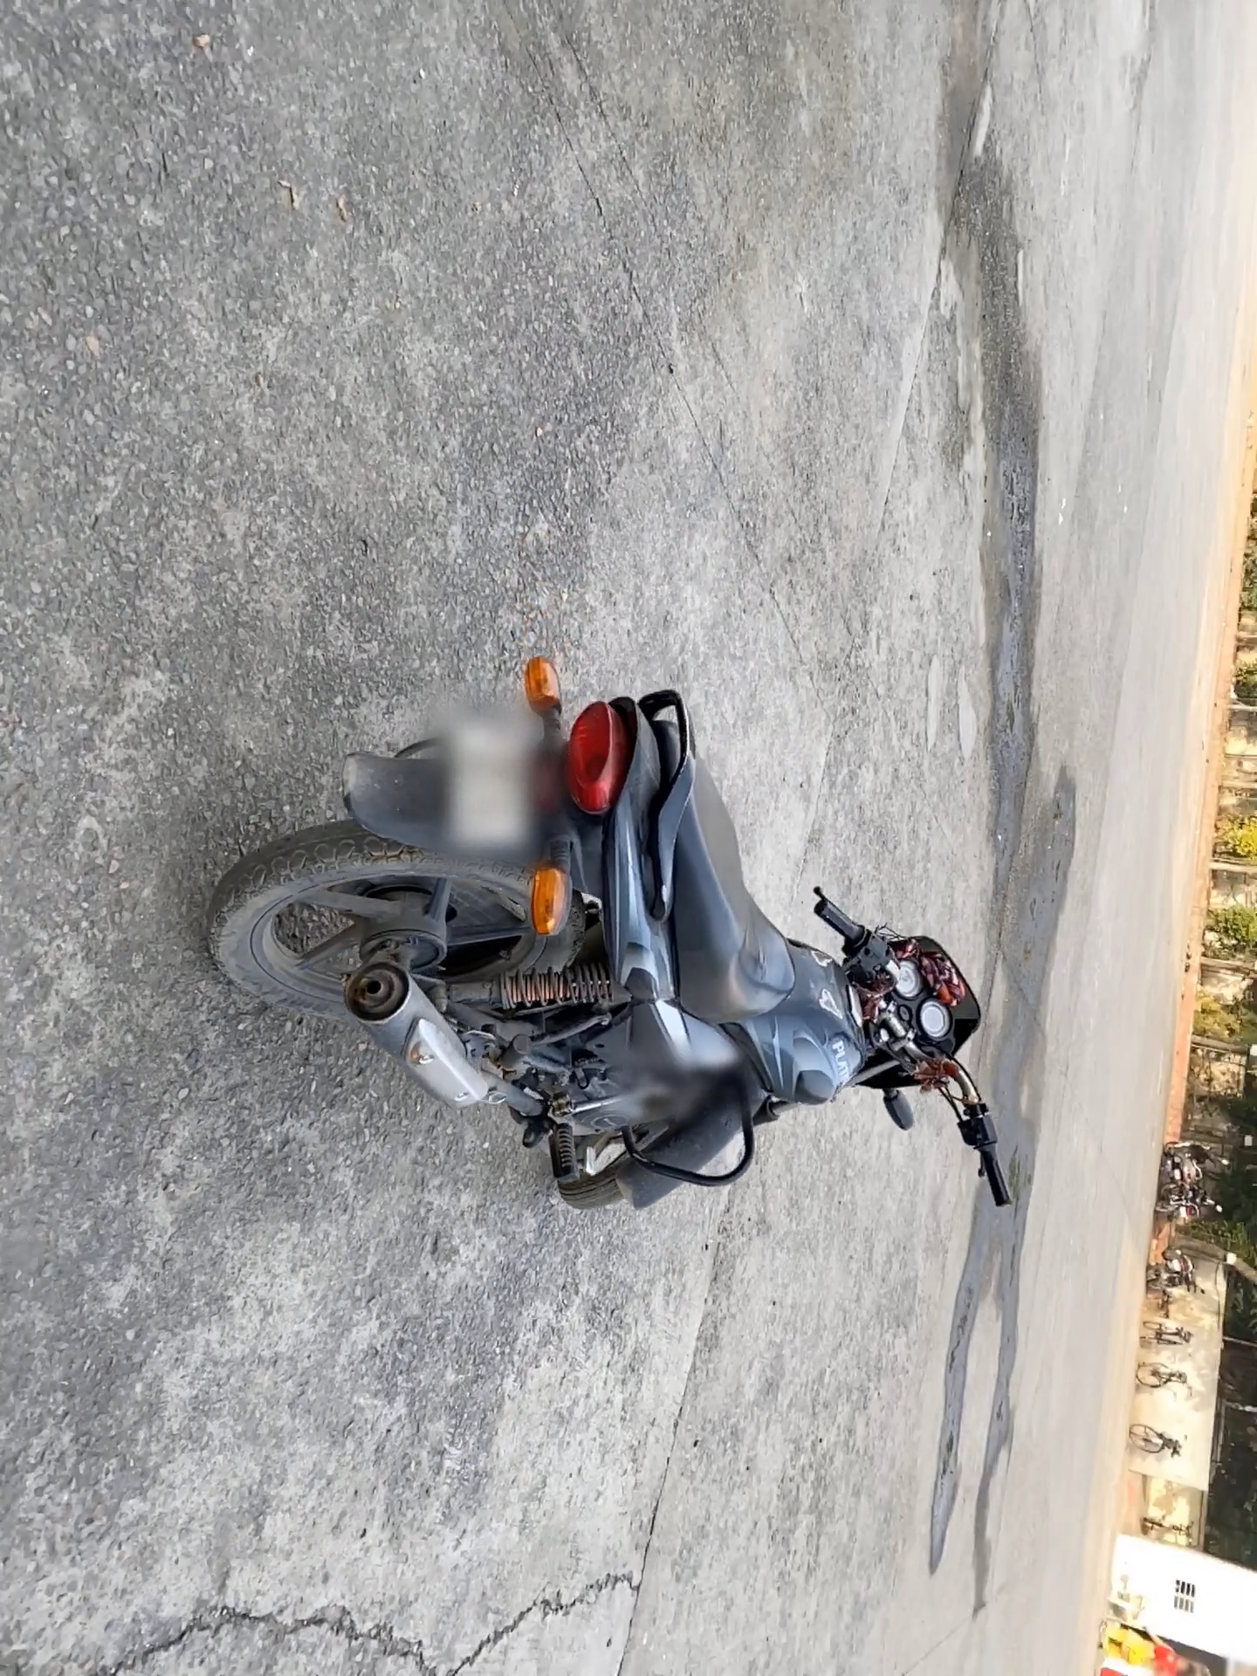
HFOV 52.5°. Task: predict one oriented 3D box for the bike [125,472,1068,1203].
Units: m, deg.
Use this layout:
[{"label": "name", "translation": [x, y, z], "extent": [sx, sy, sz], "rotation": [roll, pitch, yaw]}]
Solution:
[{"label": "bike", "translation": [0.179, 0.128, 2.499], "extent": [1.747, 1.078, 0.771], "rotation": [44, 56, -59]}]
